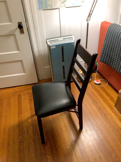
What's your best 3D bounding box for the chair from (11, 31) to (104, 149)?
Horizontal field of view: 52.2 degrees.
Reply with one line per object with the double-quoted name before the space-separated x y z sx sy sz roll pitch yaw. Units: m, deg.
"chair" -0.047 0.083 1.147 0.550 0.864 0.493 -13 37 -12
